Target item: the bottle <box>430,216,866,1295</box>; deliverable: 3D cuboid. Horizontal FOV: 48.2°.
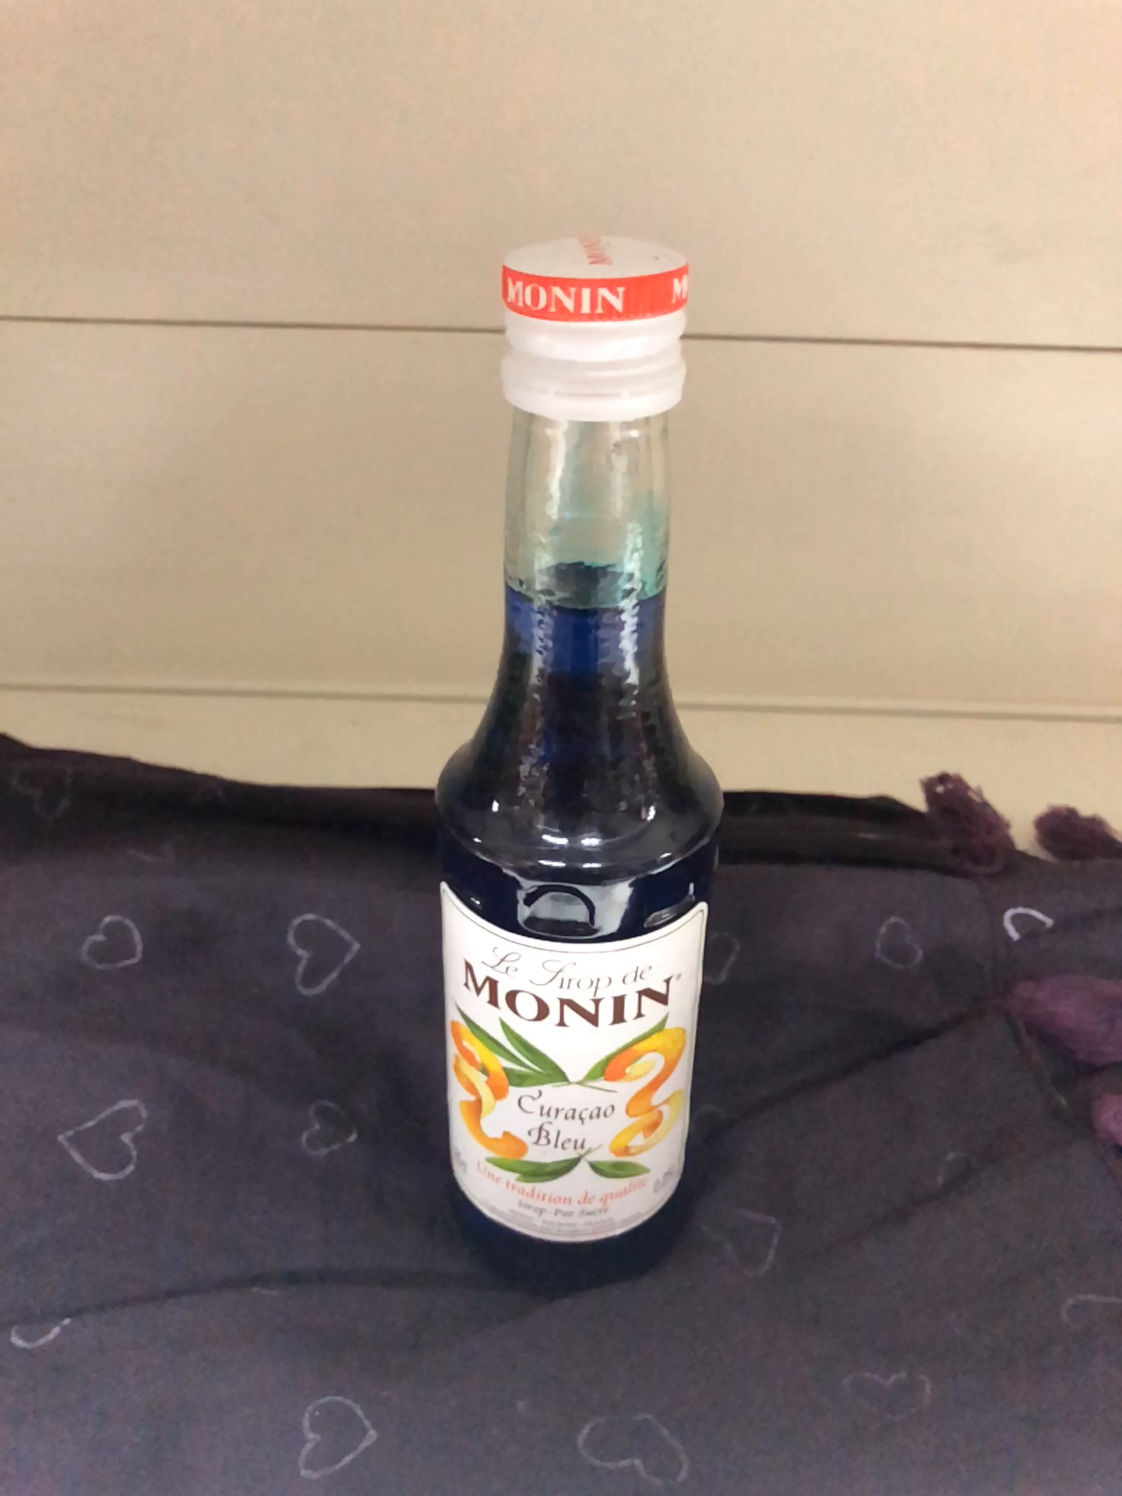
[{"bbox_3d":[0.010,0.013,0.244,0.060,0.209,0.050,3,28,2],"label":"bottle"}]
